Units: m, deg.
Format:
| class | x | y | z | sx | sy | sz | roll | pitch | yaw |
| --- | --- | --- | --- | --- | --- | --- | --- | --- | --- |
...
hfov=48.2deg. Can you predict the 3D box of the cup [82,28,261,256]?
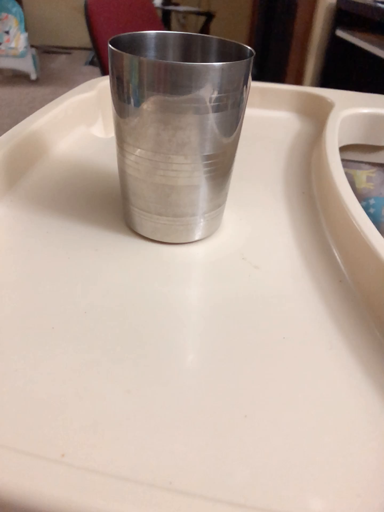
| class | x | y | z | sx | sy | sz | roll | pitch | yaw |
| --- | --- | --- | --- | --- | --- | --- | --- | --- | --- |
| cup | -0.007 | -0.062 | 0.228 | 0.073 | 0.090 | 0.074 | 3 | 36 | -2 |
